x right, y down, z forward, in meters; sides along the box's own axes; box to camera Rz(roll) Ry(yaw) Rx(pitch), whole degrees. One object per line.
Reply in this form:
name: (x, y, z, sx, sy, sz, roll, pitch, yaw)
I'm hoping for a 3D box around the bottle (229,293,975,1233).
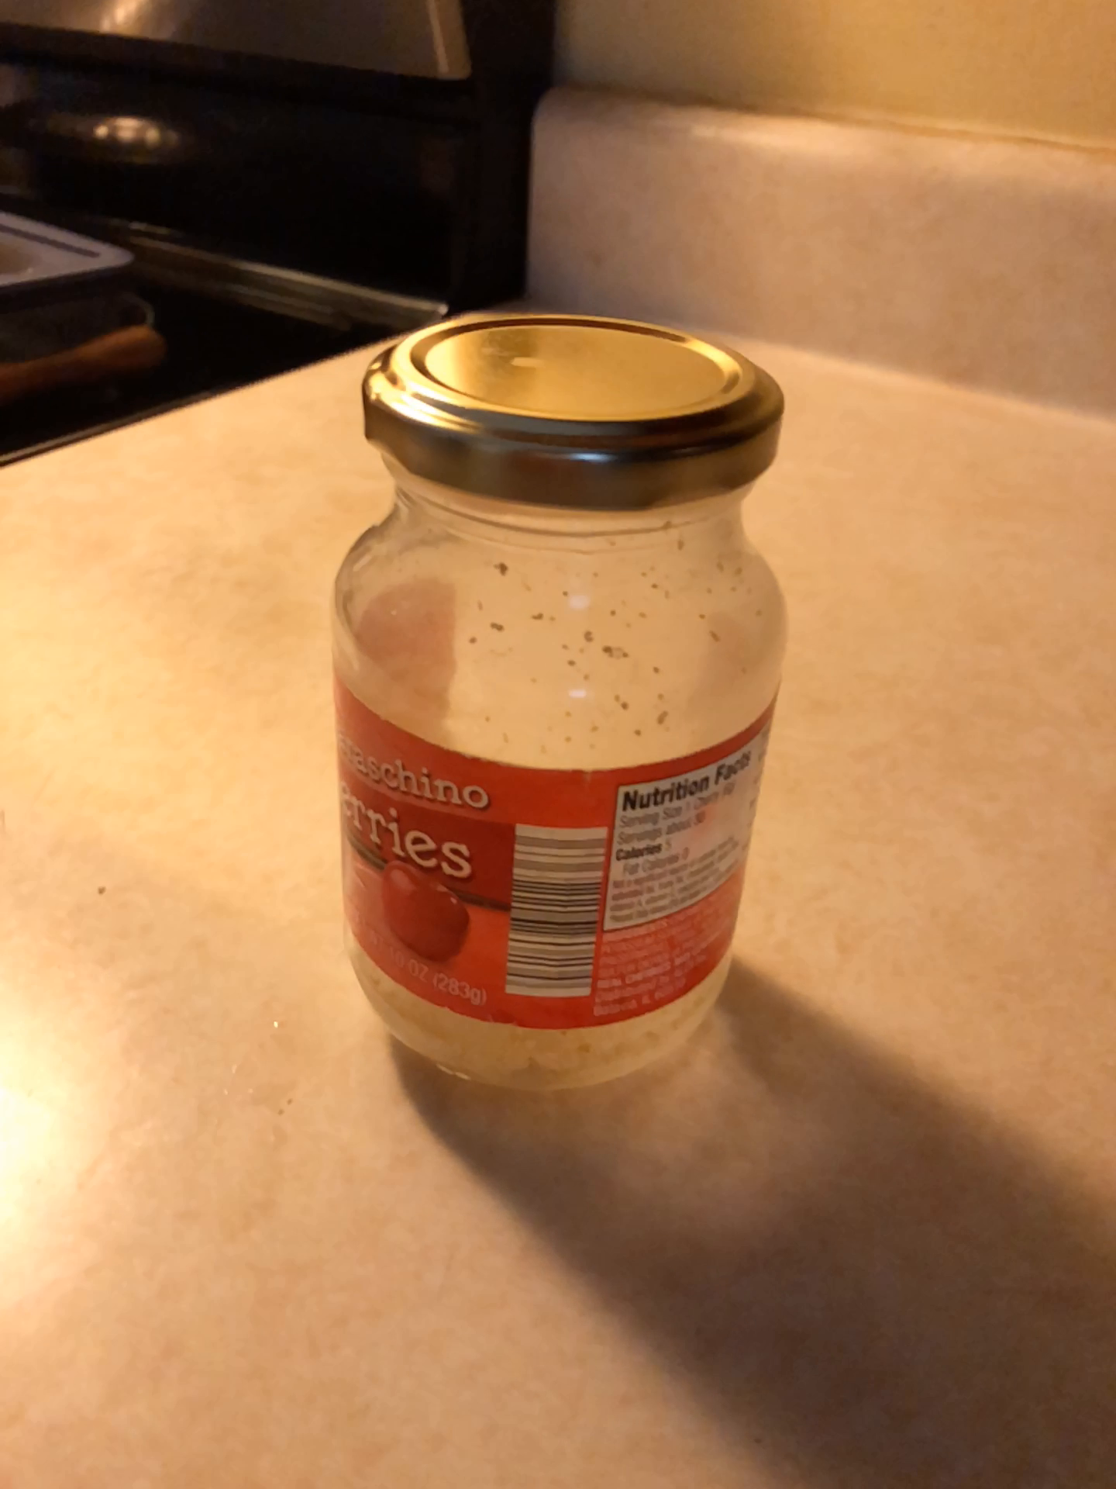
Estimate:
bottle: (0.000, -0.002, 0.192, 0.070, 0.110, 0.070, 3, 32, -2)
